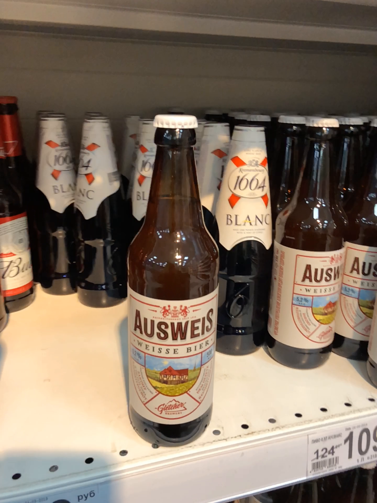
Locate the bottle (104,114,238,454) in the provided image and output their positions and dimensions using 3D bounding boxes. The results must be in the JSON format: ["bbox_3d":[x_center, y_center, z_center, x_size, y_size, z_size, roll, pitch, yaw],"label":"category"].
[{"bbox_3d":[-0.014,0.027,0.319,0.080,0.249,0.070,-1,18,-4],"label":"bottle"}]
